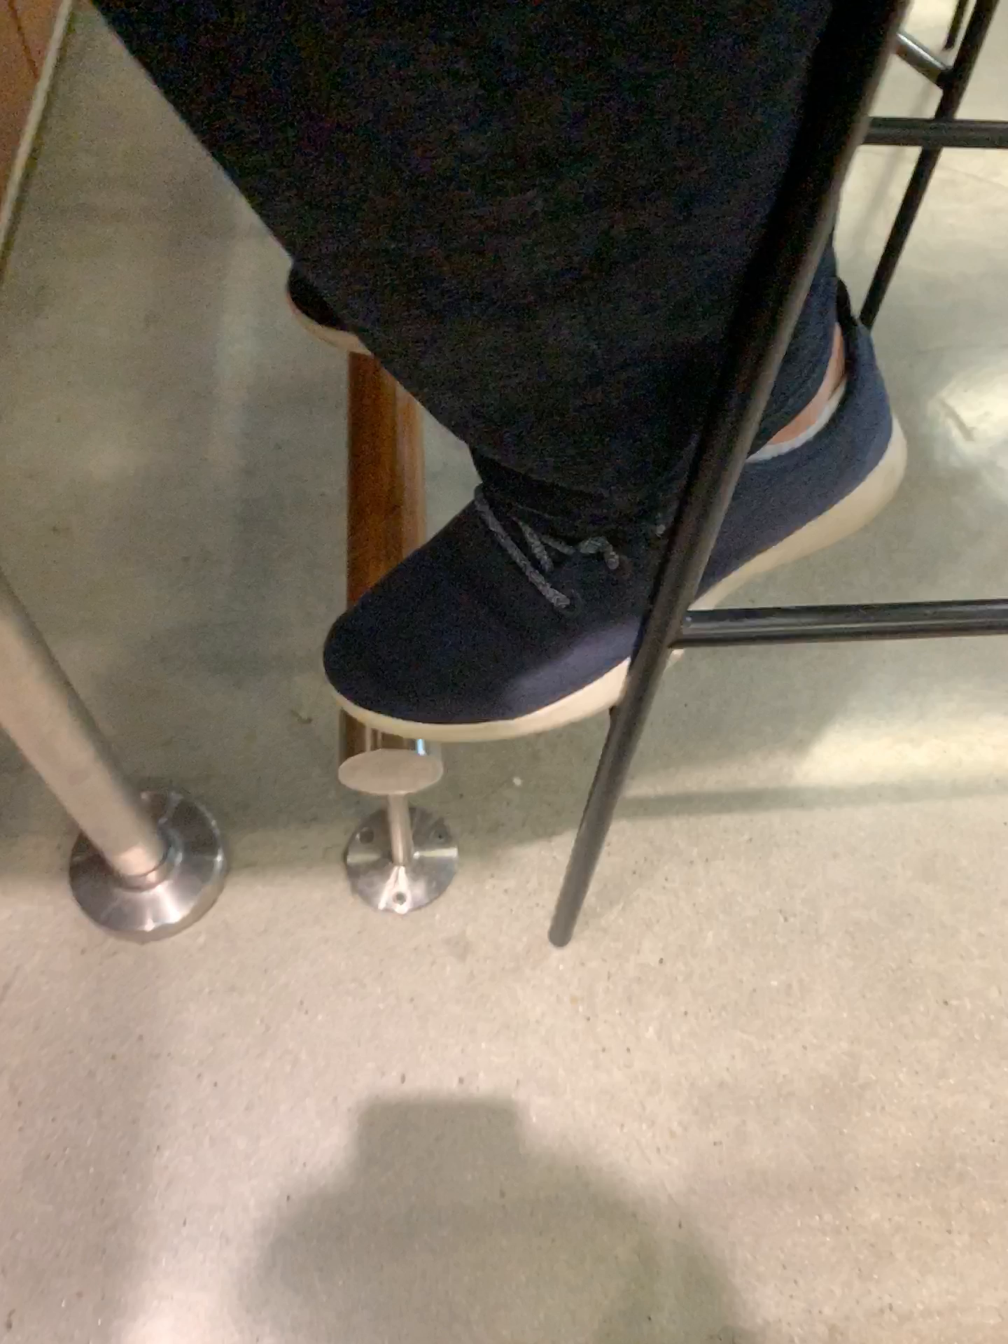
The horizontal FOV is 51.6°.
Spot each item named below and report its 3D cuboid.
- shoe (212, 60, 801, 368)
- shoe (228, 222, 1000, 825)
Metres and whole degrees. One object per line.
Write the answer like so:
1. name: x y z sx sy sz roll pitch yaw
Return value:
1. shoe: 0.010 -0.255 0.593 0.300 0.093 0.129 3 53 14
2. shoe: 0.047 -0.068 0.475 0.299 0.093 0.124 -27 59 -4
